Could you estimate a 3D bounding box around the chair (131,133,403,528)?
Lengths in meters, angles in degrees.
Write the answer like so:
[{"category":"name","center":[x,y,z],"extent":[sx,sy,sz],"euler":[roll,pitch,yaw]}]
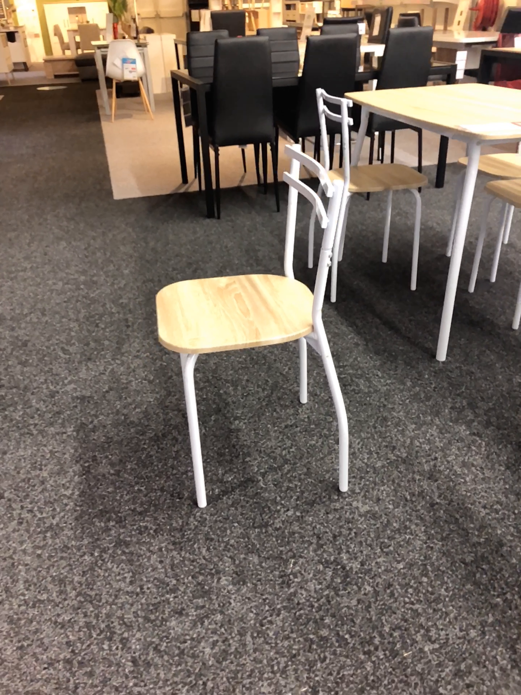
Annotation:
[{"category":"chair","center":[-0.018,-0.066,1.348],"extent":[0.441,0.726,0.502],"euler":[-9,31,-12]}]
